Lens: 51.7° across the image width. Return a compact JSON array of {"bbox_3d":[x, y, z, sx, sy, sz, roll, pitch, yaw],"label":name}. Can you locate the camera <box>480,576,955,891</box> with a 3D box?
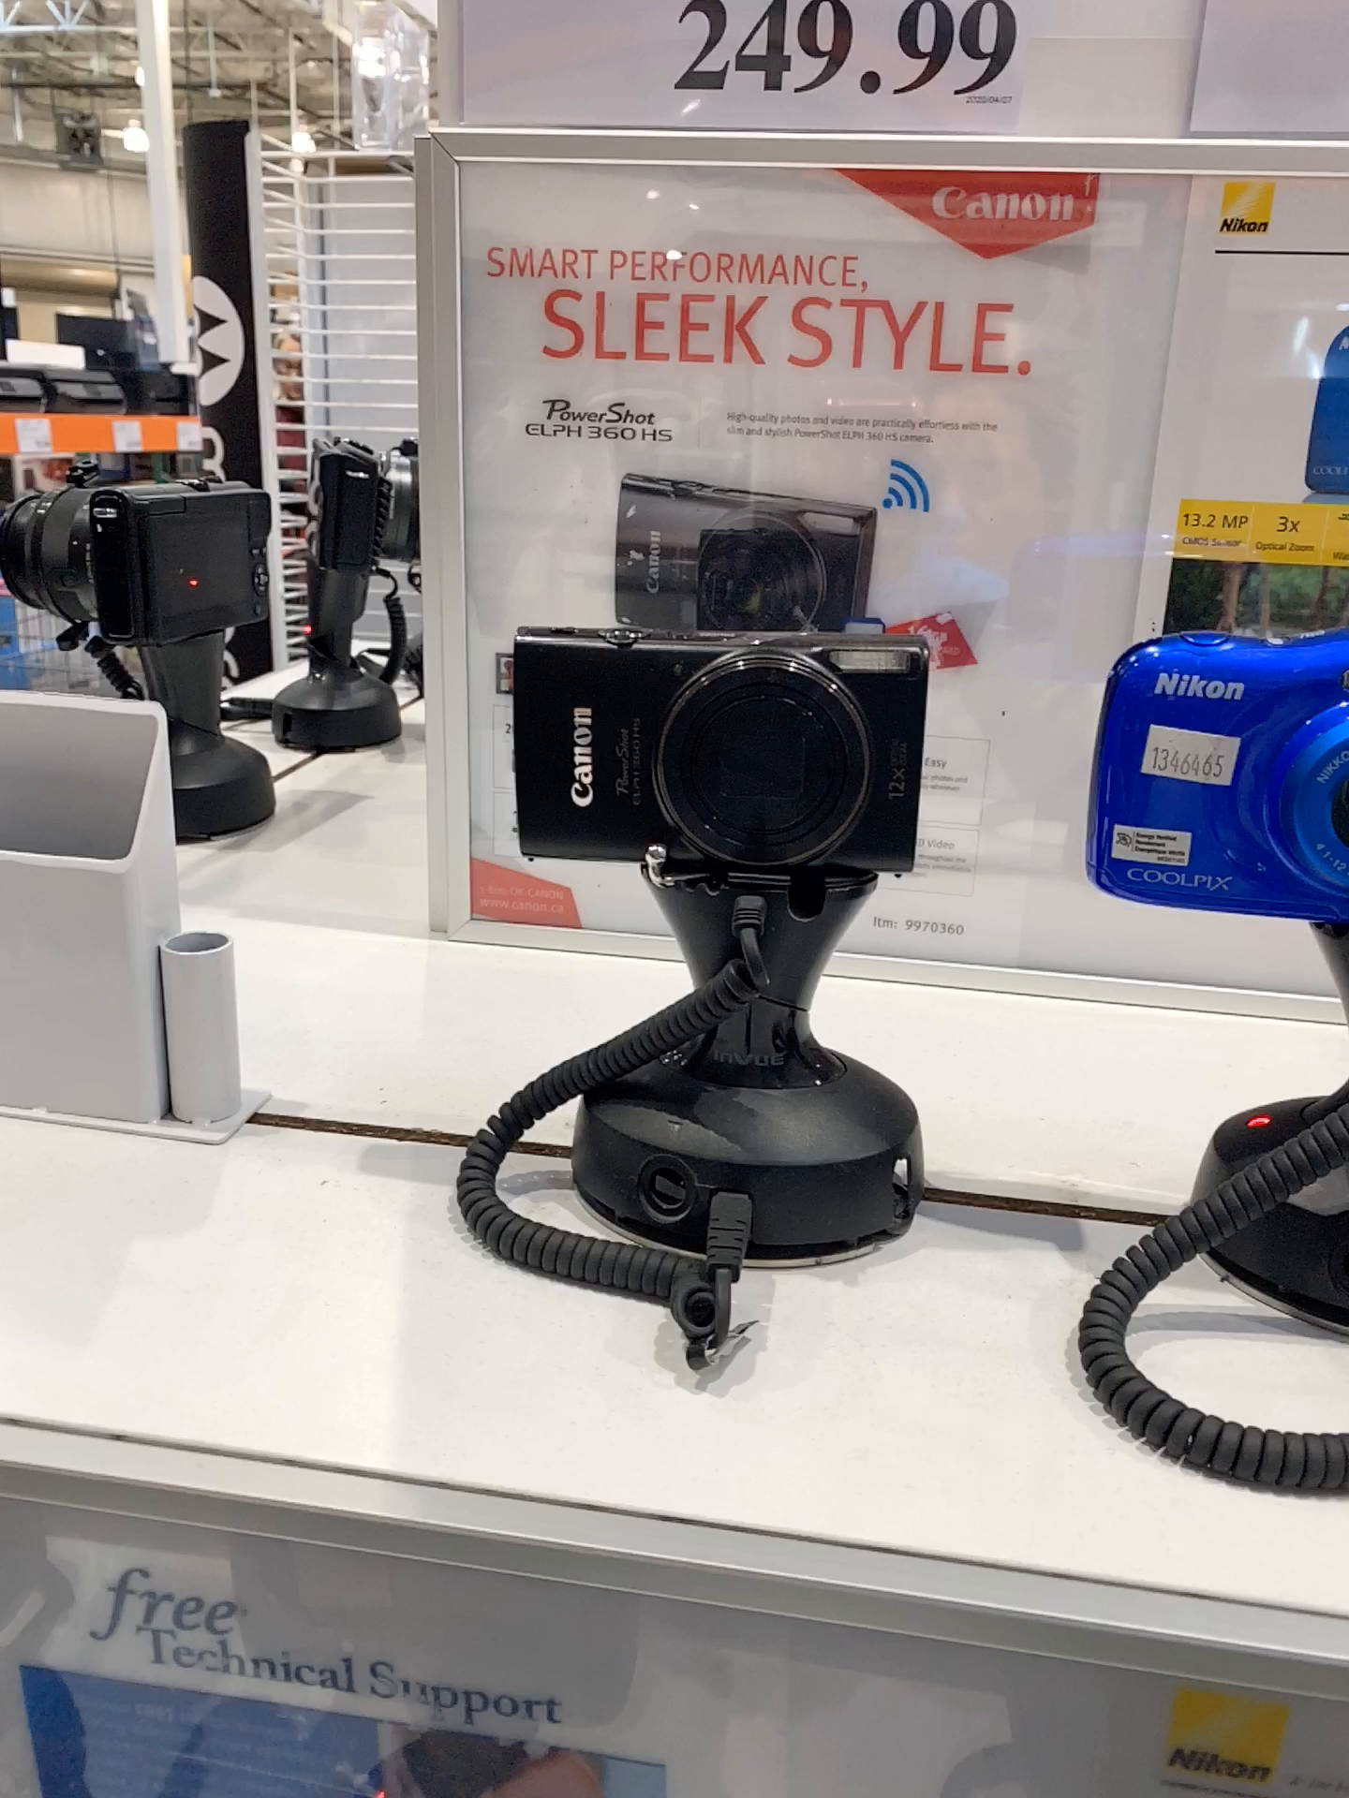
[{"bbox_3d":[0.009,-0.040,0.320,0.100,0.060,0.040,3,18,3],"label":"camera"}]
